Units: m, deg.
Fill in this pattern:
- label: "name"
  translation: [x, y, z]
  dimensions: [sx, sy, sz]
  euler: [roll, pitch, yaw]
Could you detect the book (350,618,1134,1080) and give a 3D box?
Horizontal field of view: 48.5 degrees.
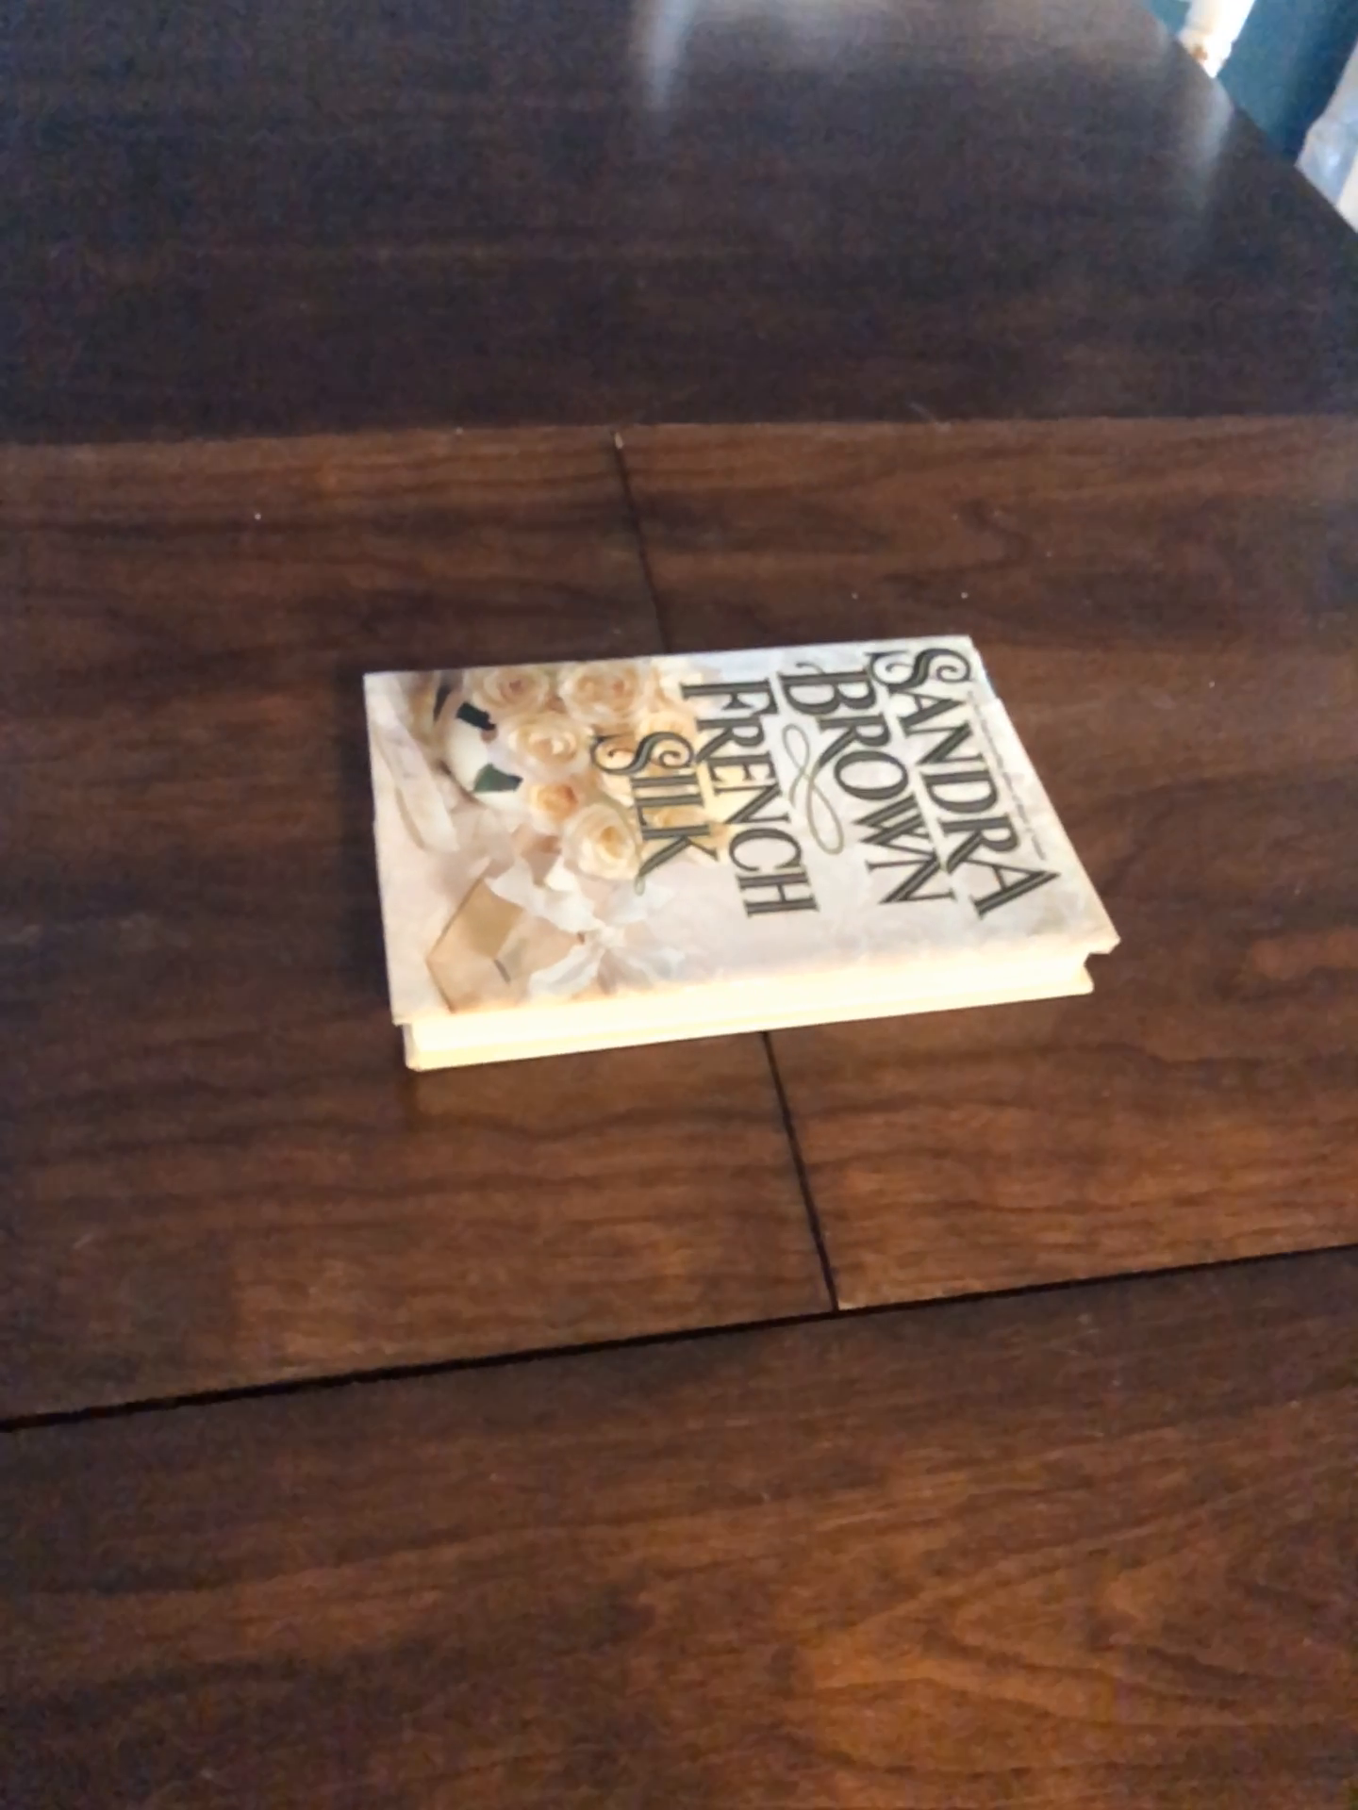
- label: "book"
  translation: [0.013, -0.029, 0.528]
  dimensions: [0.240, 0.033, 0.161]
  euler: [-5, 51, -11]
